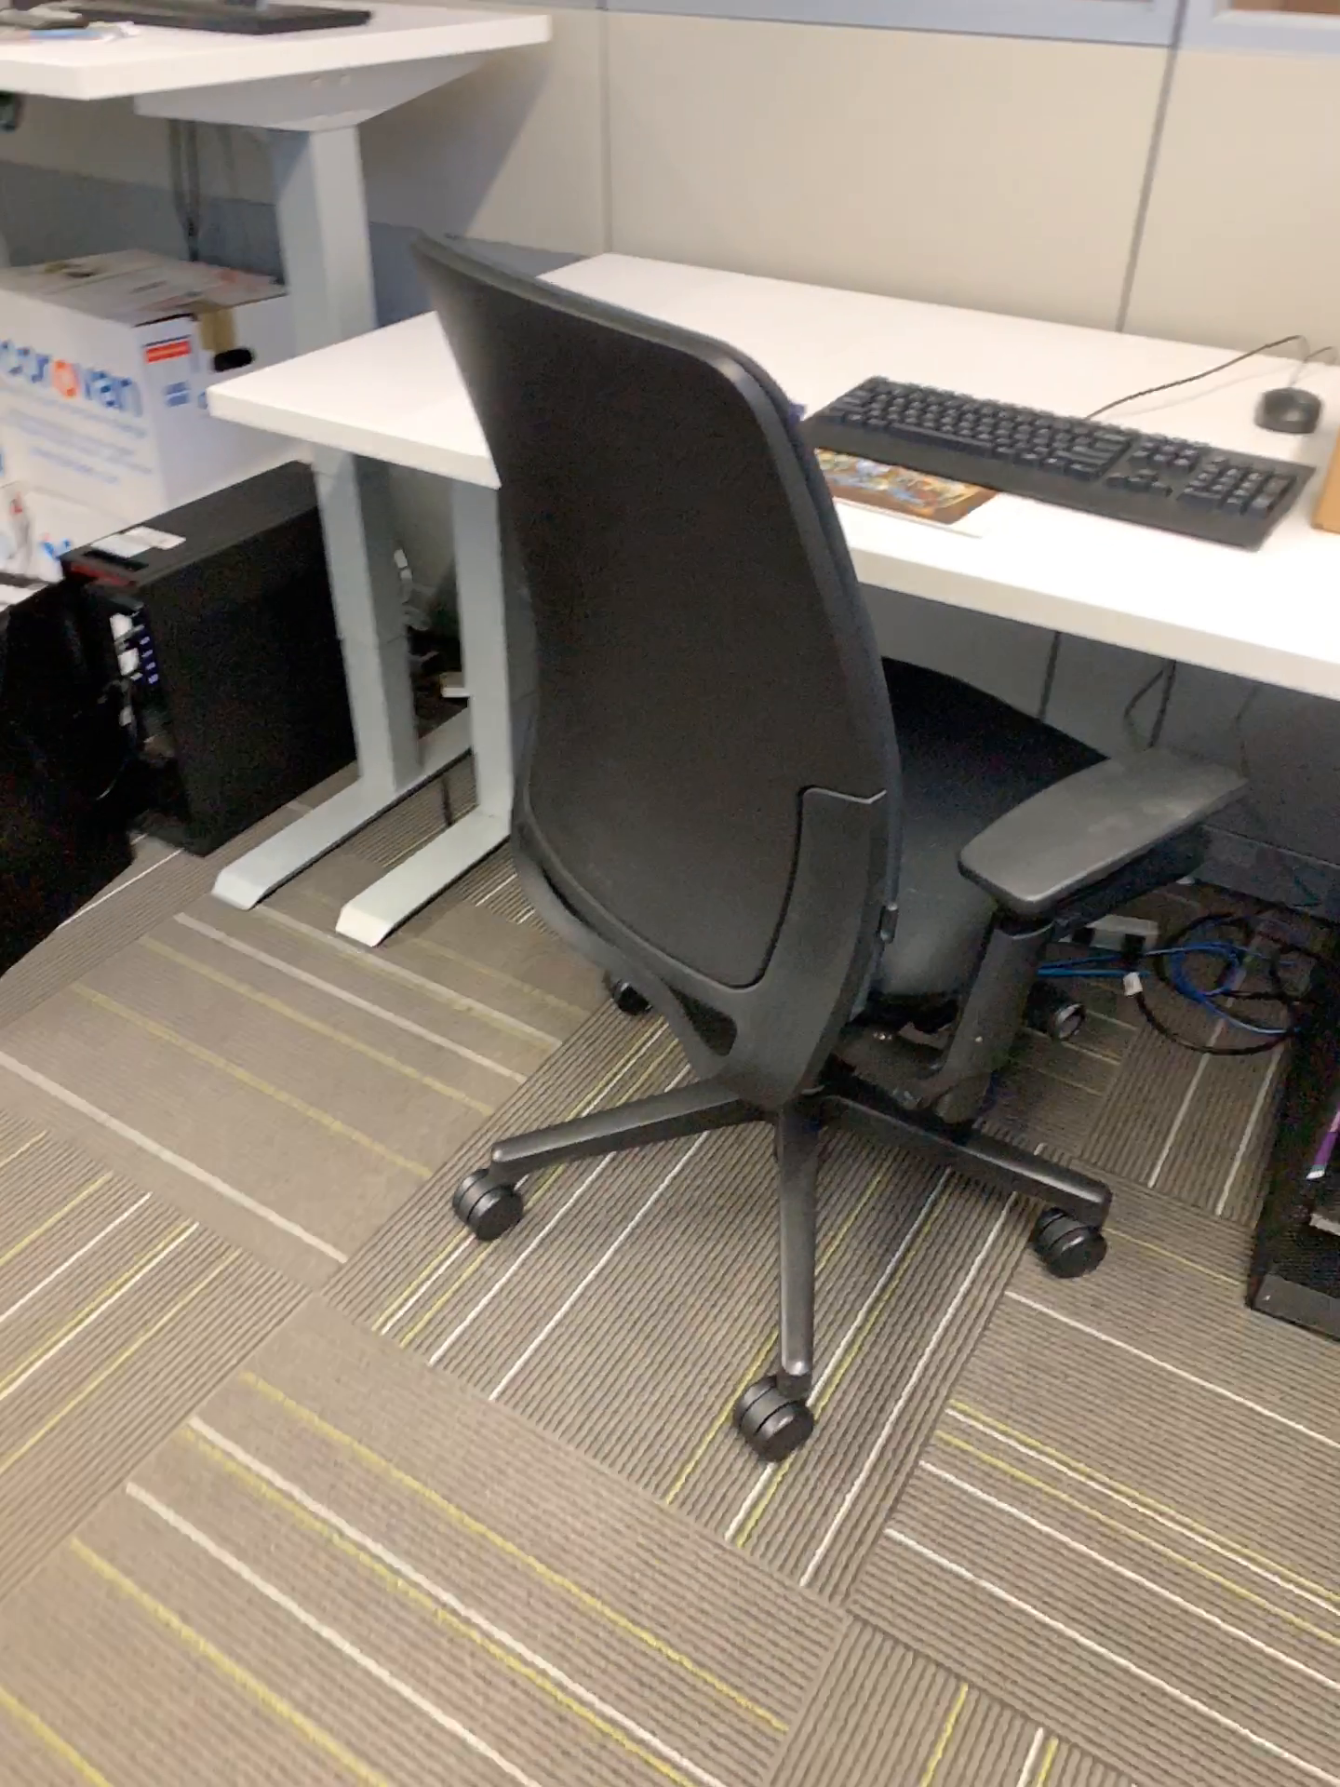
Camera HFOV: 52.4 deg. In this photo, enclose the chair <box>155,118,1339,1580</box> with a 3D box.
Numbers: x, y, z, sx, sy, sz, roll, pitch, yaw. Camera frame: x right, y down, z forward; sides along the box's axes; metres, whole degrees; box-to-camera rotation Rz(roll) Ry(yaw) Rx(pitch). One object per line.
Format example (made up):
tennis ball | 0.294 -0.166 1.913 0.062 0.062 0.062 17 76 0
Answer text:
chair | 0.140 -0.116 1.265 0.703 0.934 0.751 31 46 34
